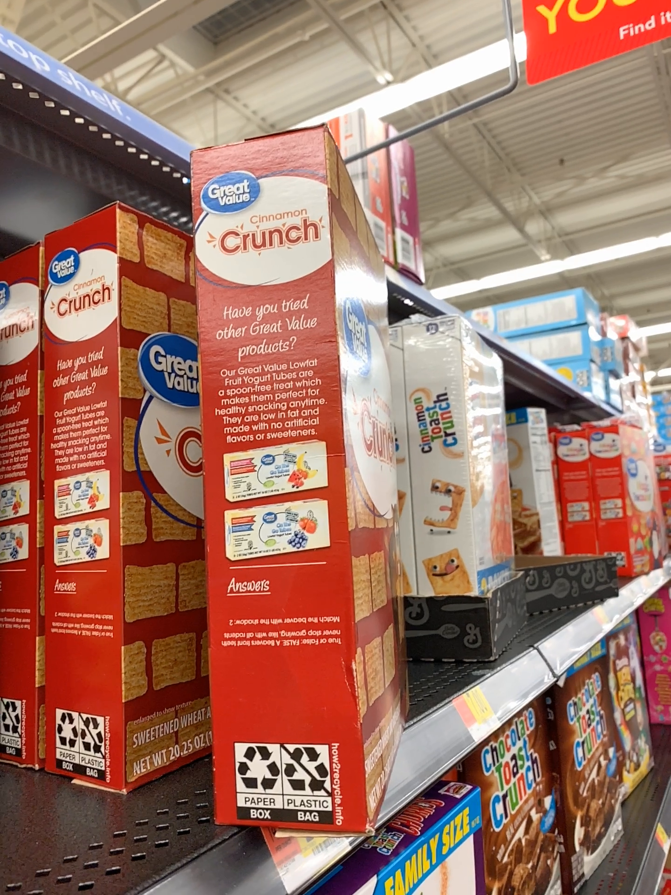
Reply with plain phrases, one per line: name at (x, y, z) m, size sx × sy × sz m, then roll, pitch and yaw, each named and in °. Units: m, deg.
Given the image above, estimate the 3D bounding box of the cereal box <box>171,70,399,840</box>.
cereal box at (-0.018, 0.004, 0.393) m, size 0.070 × 0.331 × 0.190 m, roll -5°, pitch -8°, yaw 8°
